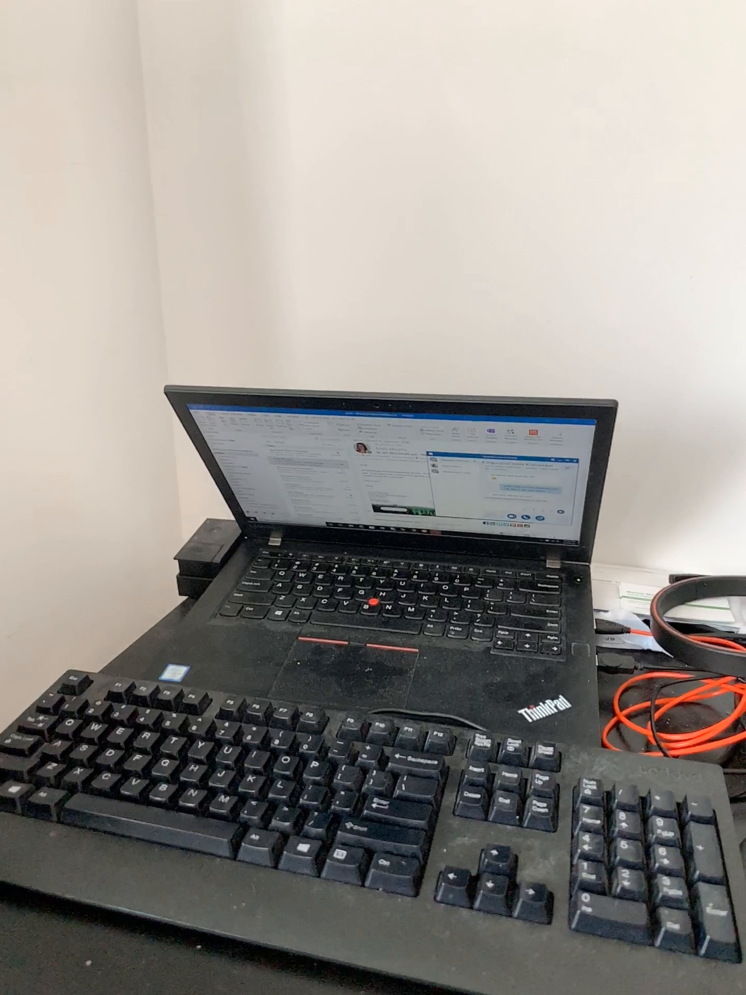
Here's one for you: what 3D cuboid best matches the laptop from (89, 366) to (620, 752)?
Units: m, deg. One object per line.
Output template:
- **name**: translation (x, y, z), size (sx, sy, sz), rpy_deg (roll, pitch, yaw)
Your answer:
- **laptop**: translation (0.005, 0.020, 0.598), size (0.334, 0.172, 0.237), rpy_deg (3, 23, 12)
